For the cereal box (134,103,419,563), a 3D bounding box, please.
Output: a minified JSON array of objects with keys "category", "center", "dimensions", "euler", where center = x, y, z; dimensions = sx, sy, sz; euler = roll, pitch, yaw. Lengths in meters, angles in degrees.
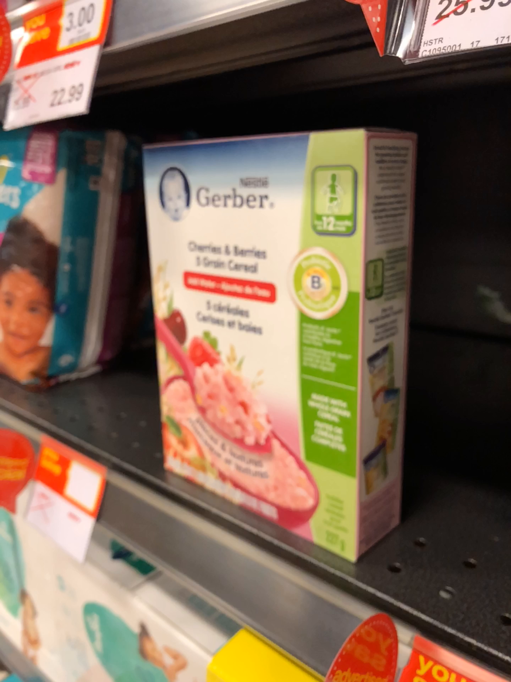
[{"category":"cereal box","center":[0.004,-0.010,0.309],"dimensions":[0.150,0.199,0.040],"euler":[12,20,42]}]
